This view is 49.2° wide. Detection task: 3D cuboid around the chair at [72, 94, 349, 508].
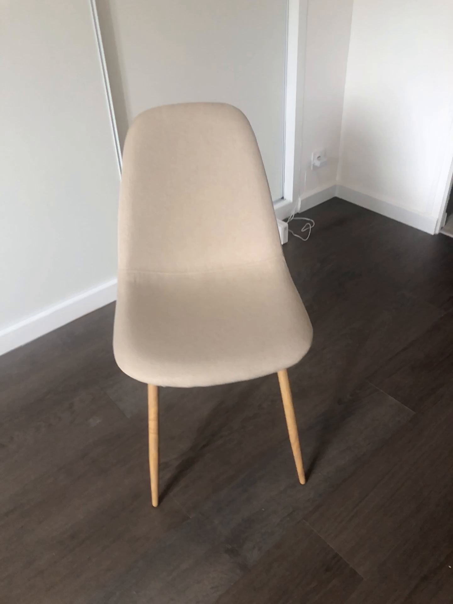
[{"bbox_3d":[-0.029,0.011,1.215,0.430,0.845,0.503,-5,36,-3],"label":"chair"}]
